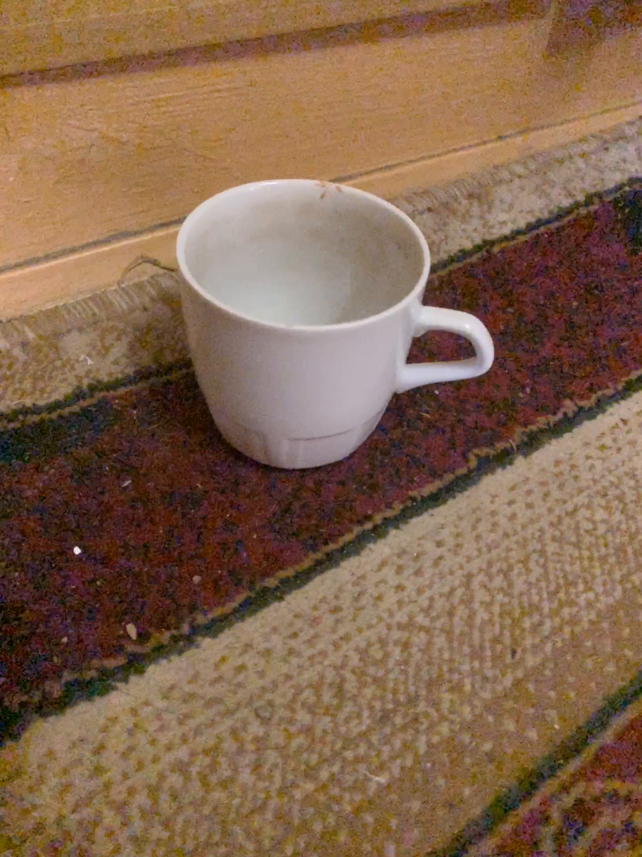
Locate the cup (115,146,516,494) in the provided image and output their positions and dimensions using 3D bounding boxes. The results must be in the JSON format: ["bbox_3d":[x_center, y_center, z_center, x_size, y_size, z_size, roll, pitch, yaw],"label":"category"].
[{"bbox_3d":[0.001,-0.040,0.241,0.114,0.075,0.082,9,49,3],"label":"cup"}]
